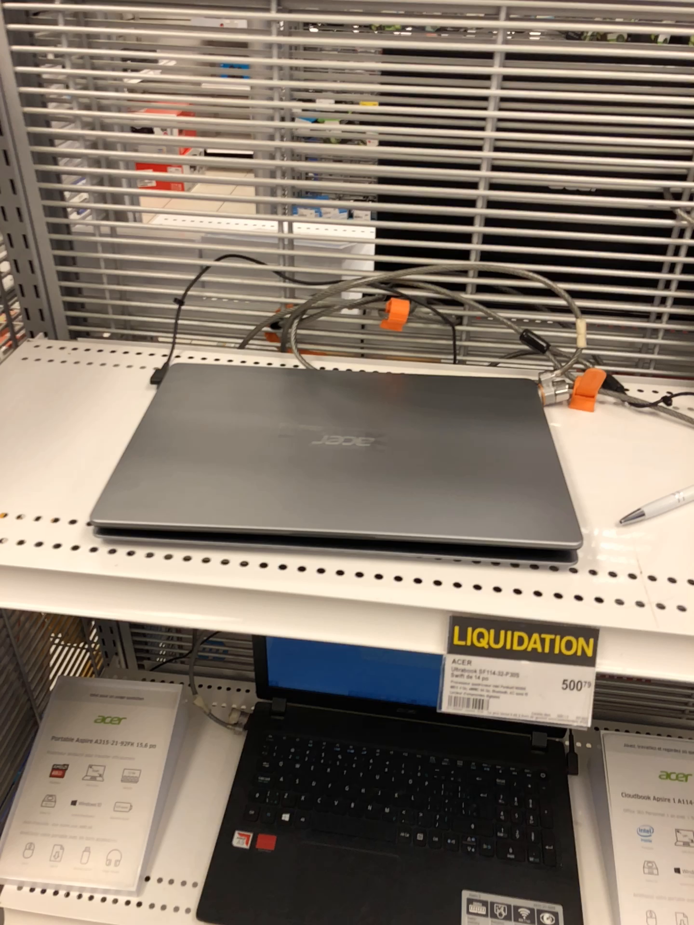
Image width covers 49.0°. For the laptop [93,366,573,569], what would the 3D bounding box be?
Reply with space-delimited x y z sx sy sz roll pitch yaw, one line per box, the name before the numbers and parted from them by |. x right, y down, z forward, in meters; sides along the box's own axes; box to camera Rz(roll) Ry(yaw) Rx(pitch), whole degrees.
laptop | -0.004 -0.009 0.587 0.315 0.006 0.220 3 37 3
